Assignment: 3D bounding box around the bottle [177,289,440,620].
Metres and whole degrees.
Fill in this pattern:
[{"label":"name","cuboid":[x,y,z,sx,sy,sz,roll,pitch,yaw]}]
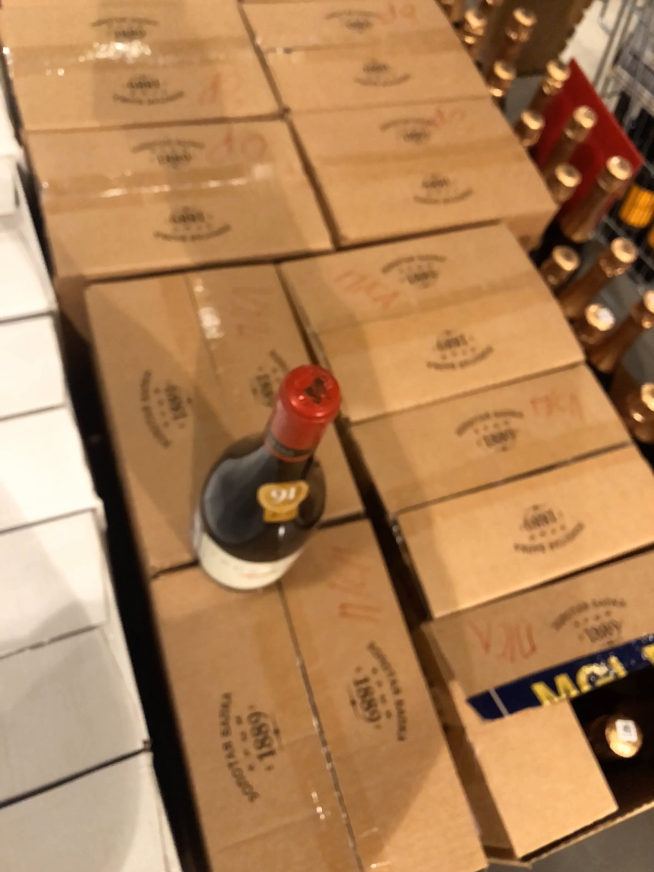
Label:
[{"label":"bottle","cuboid":[-0.034,0.031,0.477,0.100,0.269,0.100,6,63,-11]}]
